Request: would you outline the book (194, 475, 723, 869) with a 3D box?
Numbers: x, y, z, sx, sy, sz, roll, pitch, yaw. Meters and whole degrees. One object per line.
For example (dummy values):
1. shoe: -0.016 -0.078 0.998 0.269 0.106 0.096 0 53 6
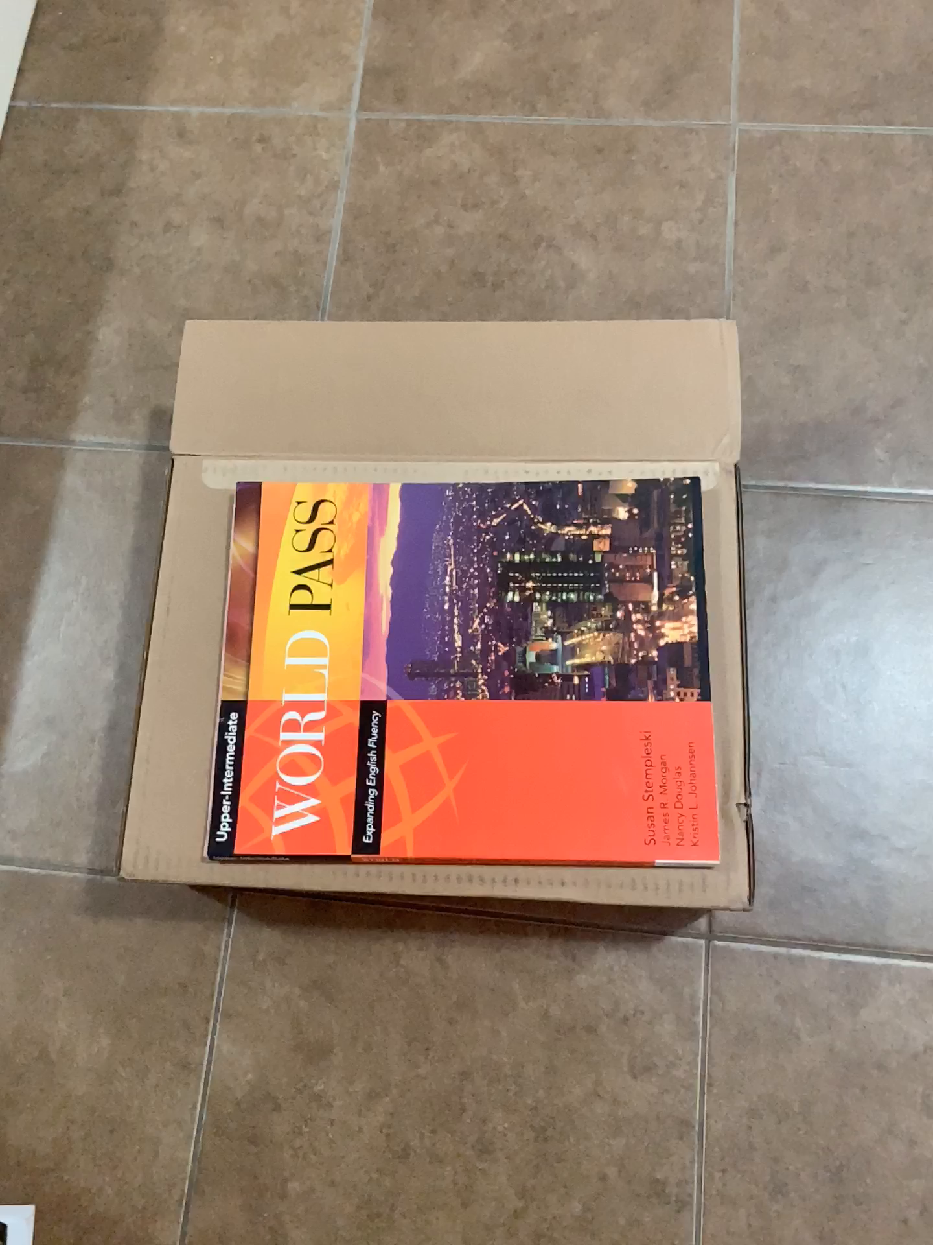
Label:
1. book: -0.004 0.023 0.520 0.270 0.018 0.211 0 75 4
